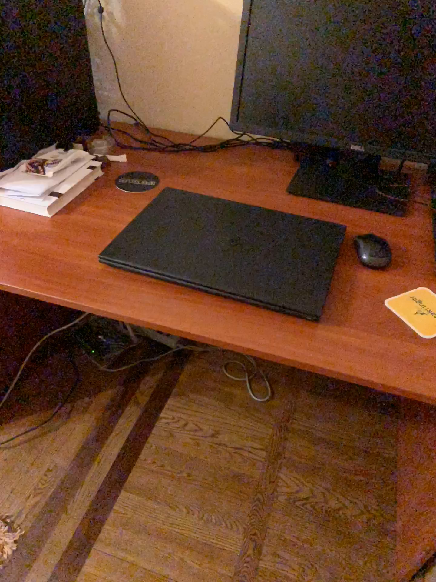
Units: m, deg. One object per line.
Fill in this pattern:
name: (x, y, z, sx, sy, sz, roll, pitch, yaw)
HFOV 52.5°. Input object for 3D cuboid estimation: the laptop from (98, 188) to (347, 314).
laptop: (0.021, -0.086, 0.742, 0.351, 0.001, 0.248, 15, 42, 14)
